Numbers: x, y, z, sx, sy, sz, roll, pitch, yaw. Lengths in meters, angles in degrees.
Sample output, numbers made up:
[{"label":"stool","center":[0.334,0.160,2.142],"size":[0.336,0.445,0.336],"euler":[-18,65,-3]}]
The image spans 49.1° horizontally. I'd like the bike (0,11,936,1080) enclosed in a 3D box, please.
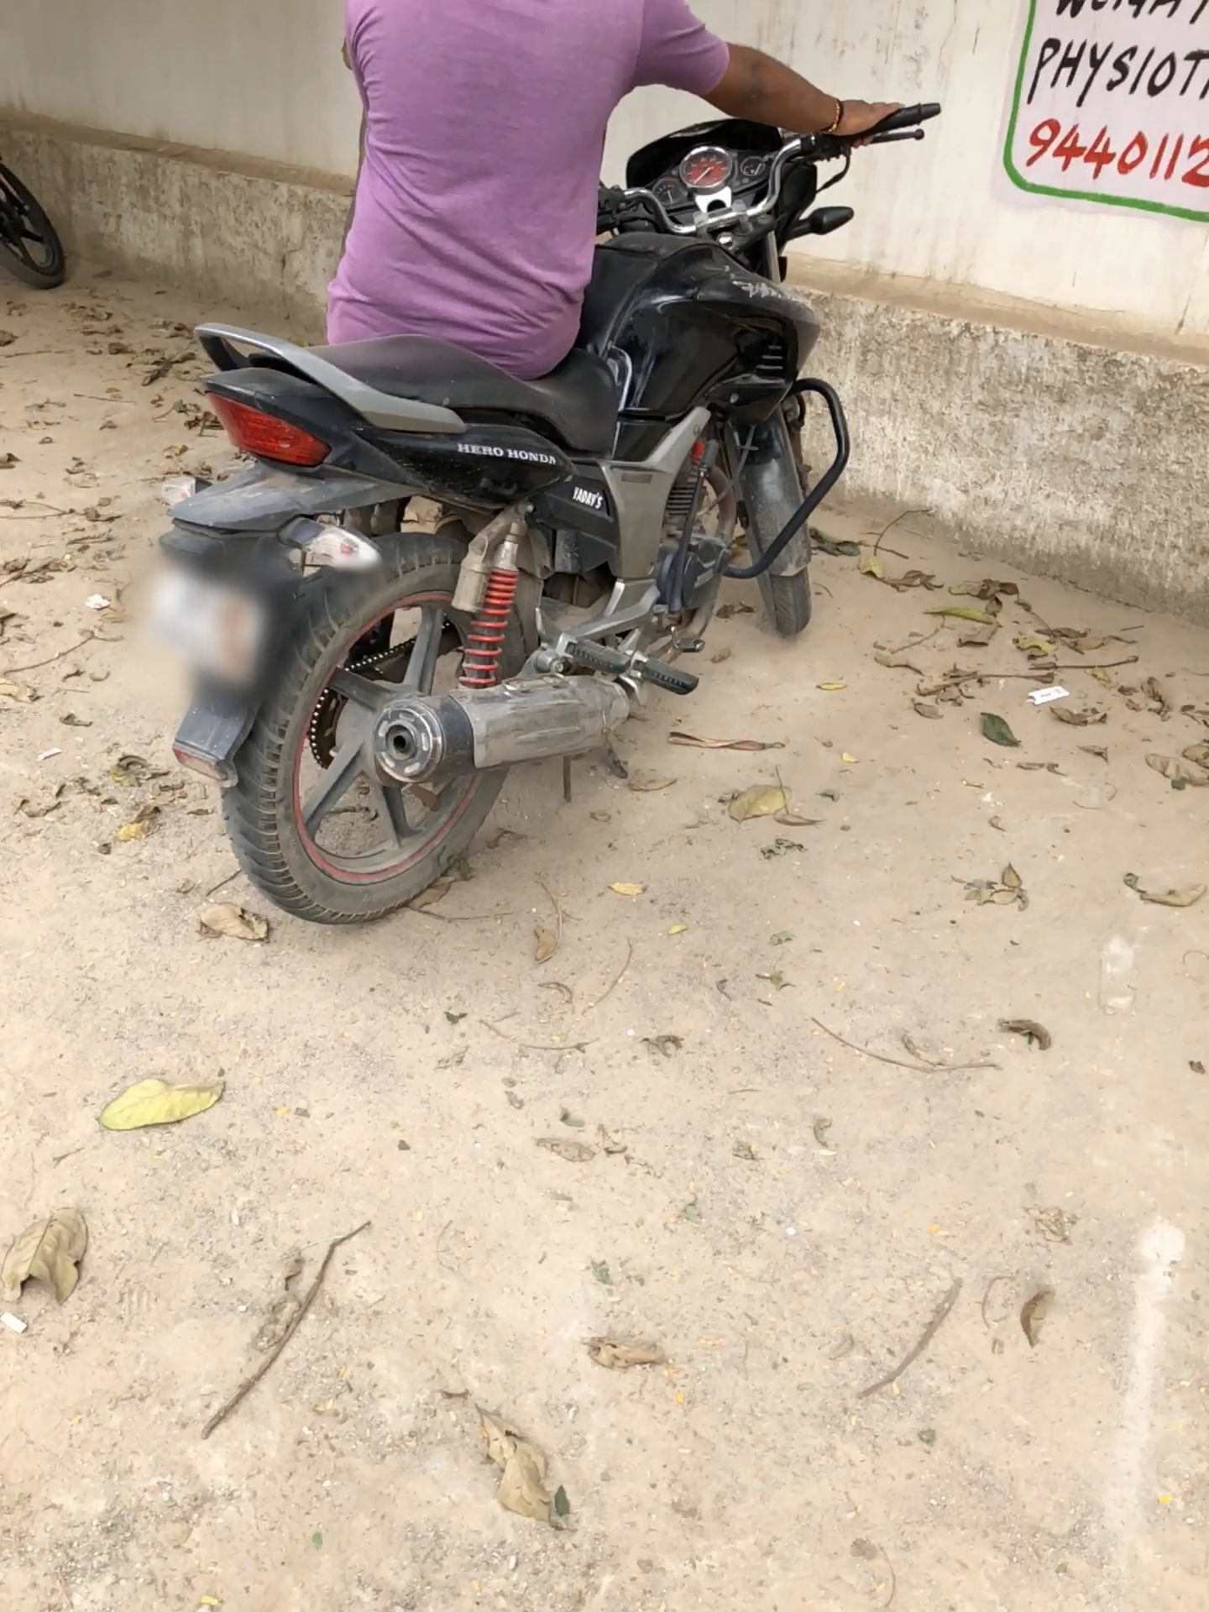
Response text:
[{"label":"bike","center":[-0.107,-0.722,2.428],"size":[0.824,1.190,1.850],"euler":[16,34,22]}]
